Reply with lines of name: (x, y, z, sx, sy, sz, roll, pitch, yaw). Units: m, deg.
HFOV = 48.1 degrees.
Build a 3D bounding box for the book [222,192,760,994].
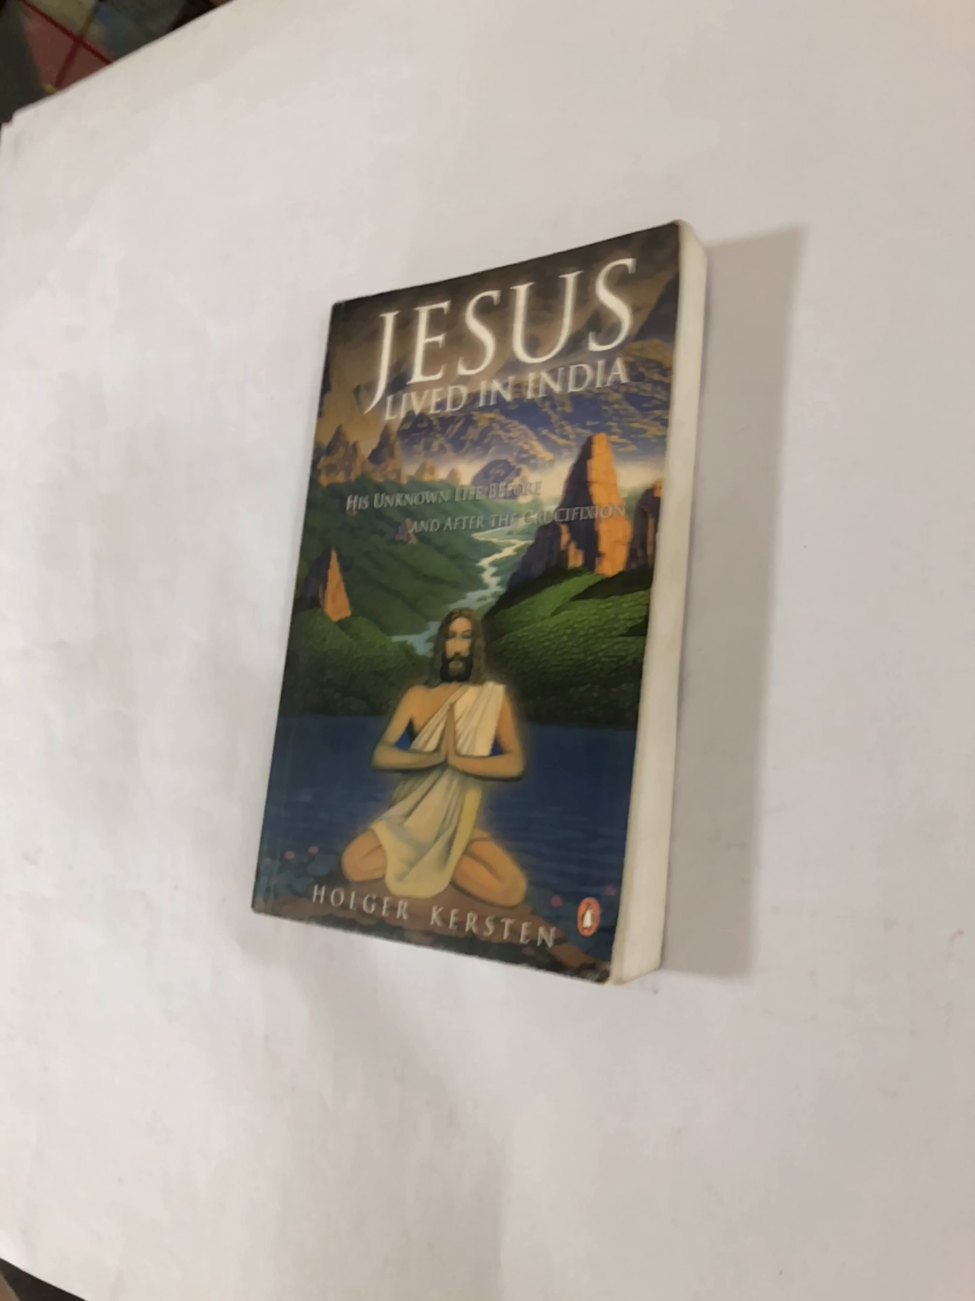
book: (-0.002, -0.018, 0.332, 0.151, 0.030, 0.210, 0, 79, 34)
